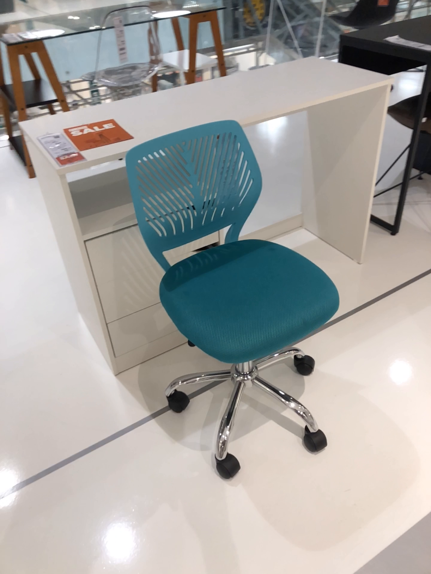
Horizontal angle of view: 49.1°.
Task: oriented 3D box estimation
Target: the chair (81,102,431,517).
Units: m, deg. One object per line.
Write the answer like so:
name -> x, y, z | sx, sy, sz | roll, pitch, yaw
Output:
chair -> 0.082, 0.026, 1.148 | 0.501, 0.724, 0.503 | -24, 40, -24
